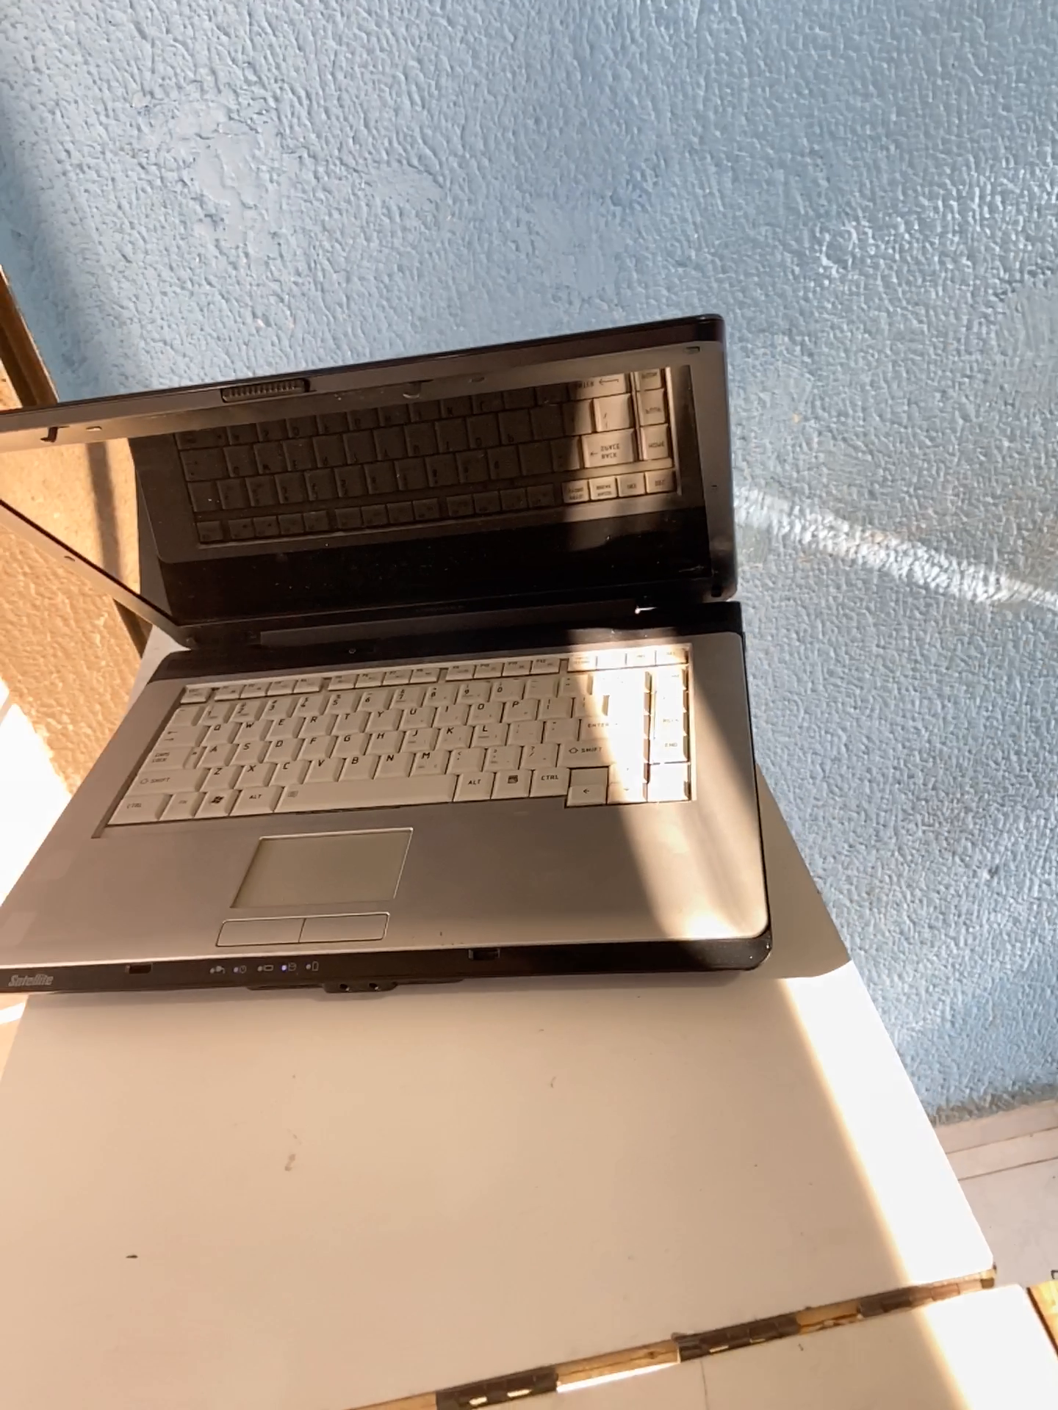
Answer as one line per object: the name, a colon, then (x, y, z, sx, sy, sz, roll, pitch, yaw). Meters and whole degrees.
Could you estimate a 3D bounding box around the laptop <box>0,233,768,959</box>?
laptop: (-0.083, -0.052, 0.499, 0.351, 0.202, 0.247, -4, 36, 11)
